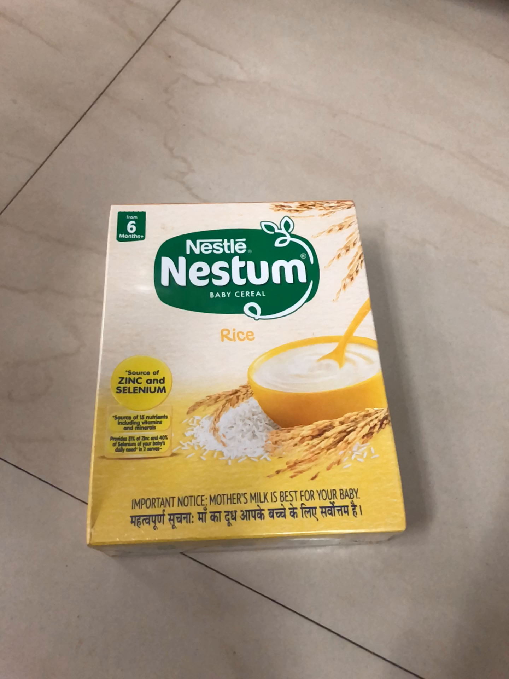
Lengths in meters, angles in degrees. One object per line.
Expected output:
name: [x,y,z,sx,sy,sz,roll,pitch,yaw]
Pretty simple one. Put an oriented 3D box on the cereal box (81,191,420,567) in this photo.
cereal box: [-0.005,0.016,0.320,0.150,0.060,0.201,-2,65,-2]
